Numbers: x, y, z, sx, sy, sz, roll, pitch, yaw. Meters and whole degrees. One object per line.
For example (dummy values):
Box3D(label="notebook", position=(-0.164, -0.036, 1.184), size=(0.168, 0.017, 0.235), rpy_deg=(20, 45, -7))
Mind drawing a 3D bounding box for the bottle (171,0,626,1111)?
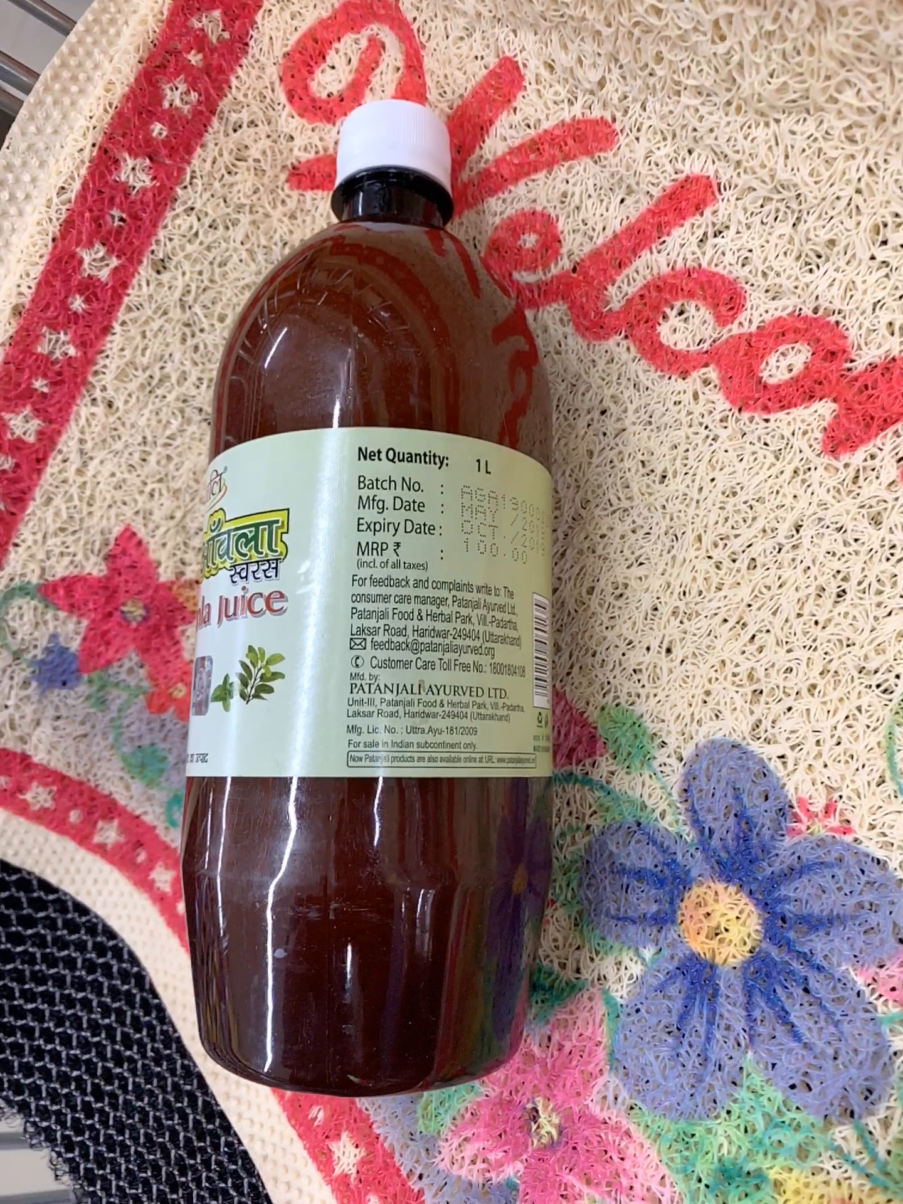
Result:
Box3D(label="bottle", position=(-0.010, -0.027, 0.226), size=(0.080, 0.080, 0.250), rpy_deg=(3, 80, -6))
